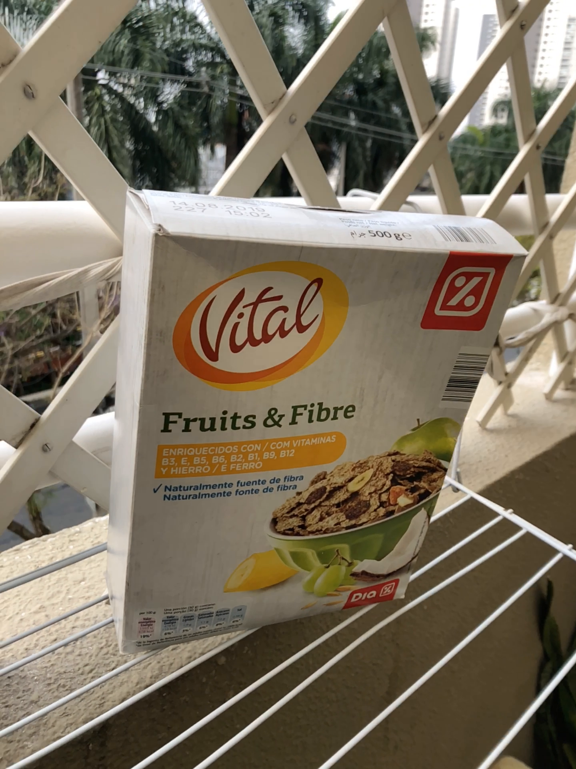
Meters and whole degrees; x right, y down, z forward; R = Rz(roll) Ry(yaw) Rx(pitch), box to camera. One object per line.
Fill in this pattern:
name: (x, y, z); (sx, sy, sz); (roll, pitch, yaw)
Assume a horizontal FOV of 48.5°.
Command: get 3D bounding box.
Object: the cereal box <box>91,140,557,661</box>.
cereal box: (0.002, 0.018, 0.368); (0.210, 0.268, 0.071); (-2, 31, -23)
